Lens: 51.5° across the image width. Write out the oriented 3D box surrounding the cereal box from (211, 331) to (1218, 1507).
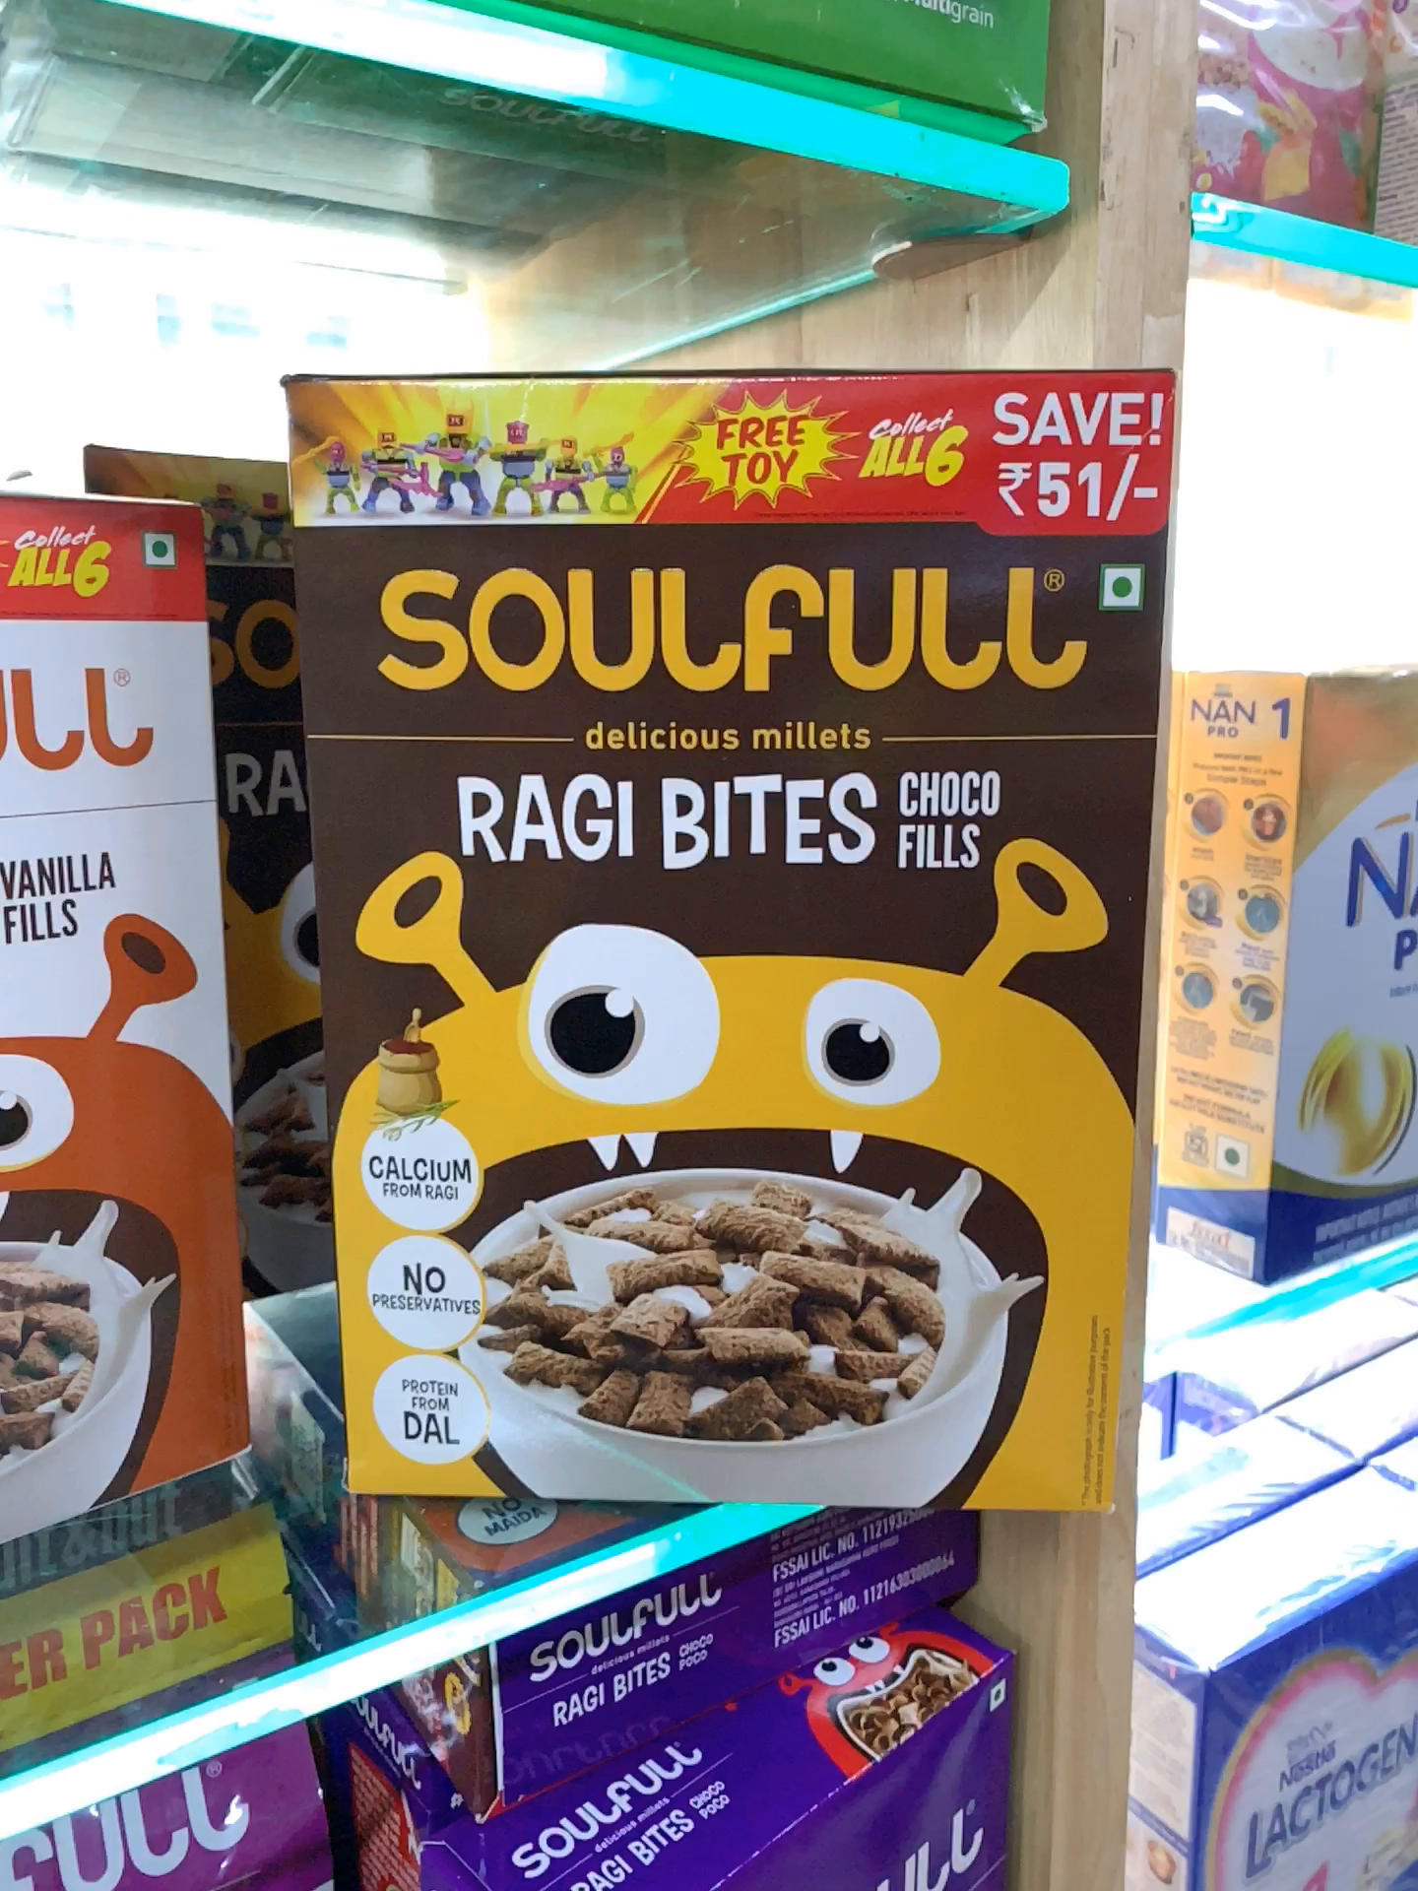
[{"bbox_3d":[0.001,-0.003,0.329,0.190,0.239,0.060,0,11,3],"label":"cereal box"}]
